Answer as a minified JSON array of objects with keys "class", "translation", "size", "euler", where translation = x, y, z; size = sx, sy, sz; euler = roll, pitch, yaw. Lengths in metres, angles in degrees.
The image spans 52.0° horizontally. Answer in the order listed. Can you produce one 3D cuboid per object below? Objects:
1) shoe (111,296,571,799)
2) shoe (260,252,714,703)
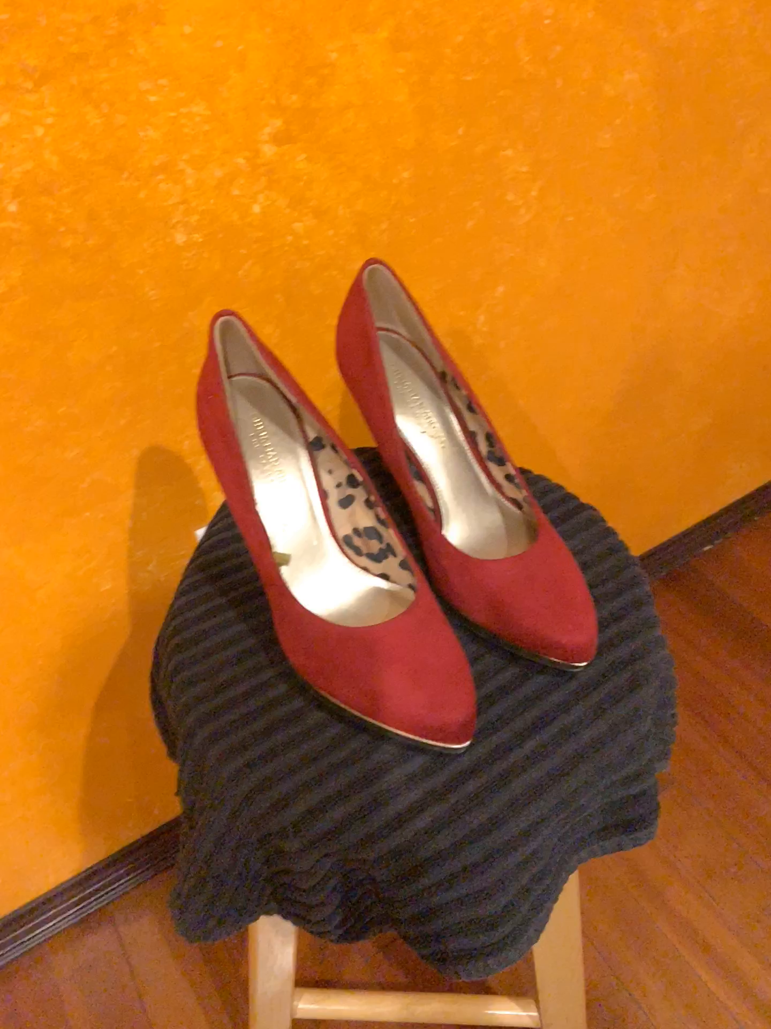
[{"class":"shoe","translation":[-0.043,-0.008,0.442],"size":[0.100,0.119,0.291],"euler":[-23,42,-25]},{"class":"shoe","translation":[0.035,-0.042,0.461],"size":[0.093,0.128,0.271],"euler":[-22,42,-25]}]
